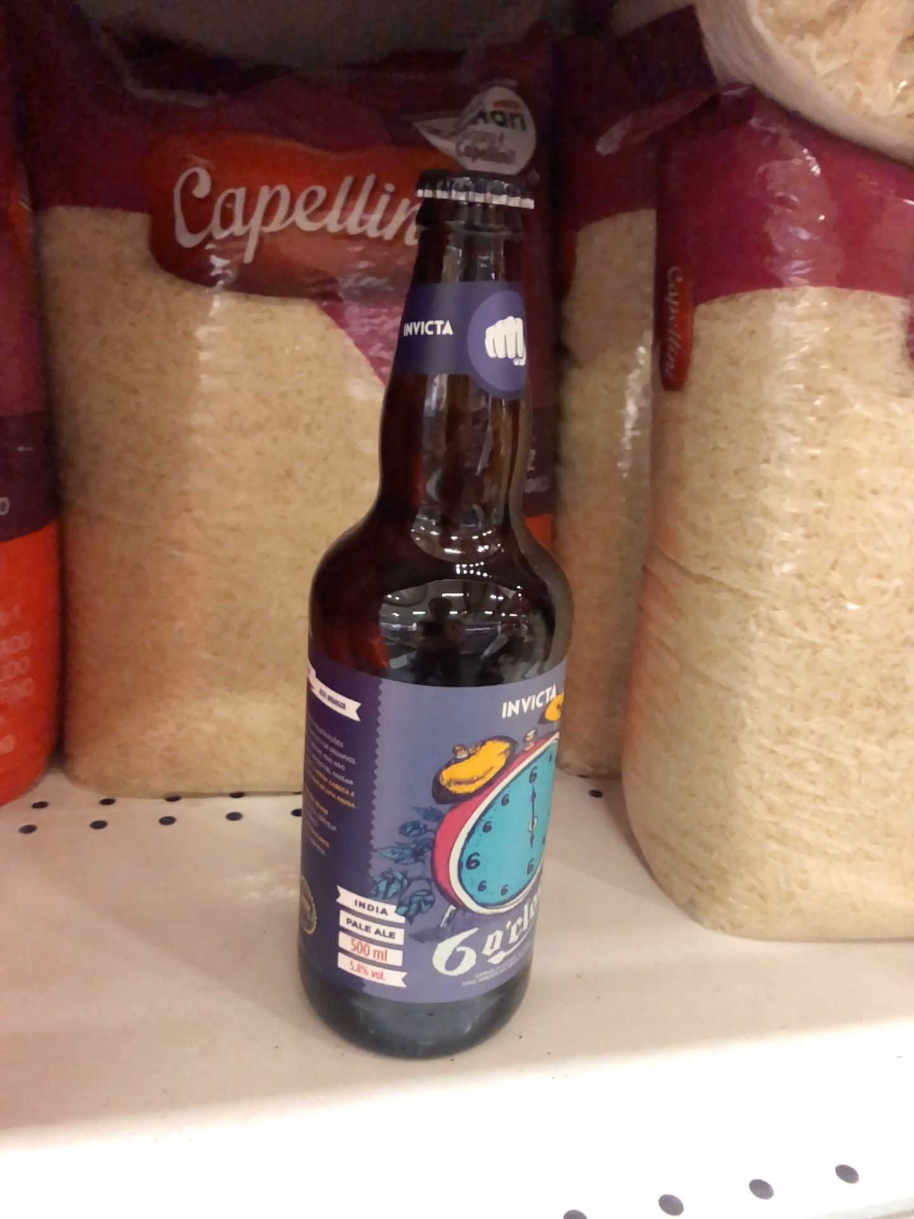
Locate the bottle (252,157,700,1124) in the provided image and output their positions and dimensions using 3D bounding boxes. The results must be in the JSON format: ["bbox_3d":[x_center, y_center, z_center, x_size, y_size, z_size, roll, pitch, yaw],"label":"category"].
[{"bbox_3d":[-0.003,0.008,0.271,0.070,0.229,0.070,5,20,-2],"label":"bottle"}]
